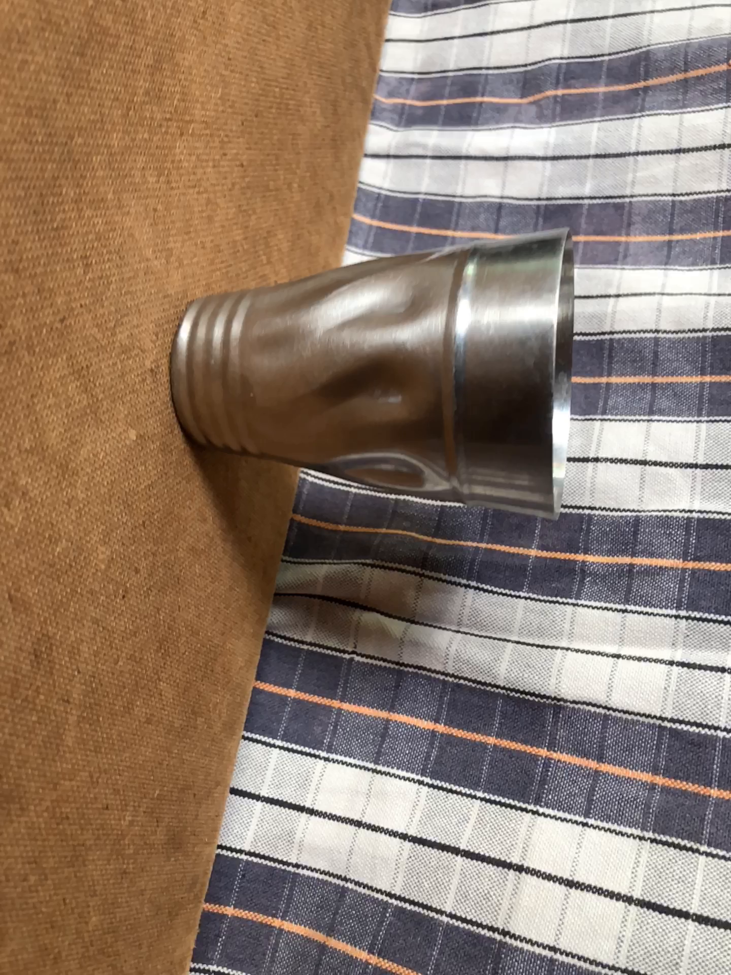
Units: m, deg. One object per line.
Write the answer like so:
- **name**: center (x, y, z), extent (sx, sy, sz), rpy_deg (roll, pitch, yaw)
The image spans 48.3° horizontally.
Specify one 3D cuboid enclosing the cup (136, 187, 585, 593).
- **cup**: center (0.009, -0.030, 0.234), extent (0.080, 0.099, 0.080), rpy_deg (3, 90, -74)
